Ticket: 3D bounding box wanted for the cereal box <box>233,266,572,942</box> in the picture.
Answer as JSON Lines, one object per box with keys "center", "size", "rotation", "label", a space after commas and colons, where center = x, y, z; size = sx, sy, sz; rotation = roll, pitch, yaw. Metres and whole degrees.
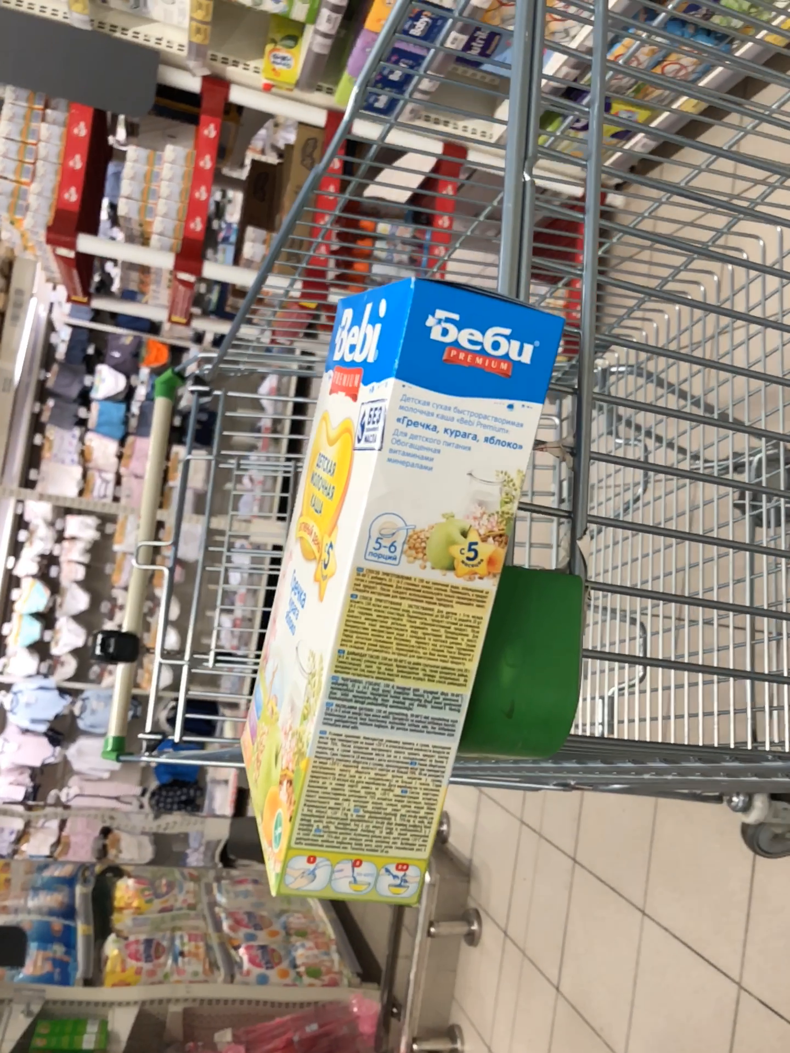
{"center": [-0.012, 0.018, 0.335], "size": [0.141, 0.050, 0.210], "rotation": [-141, 63, -72], "label": "cereal box"}
